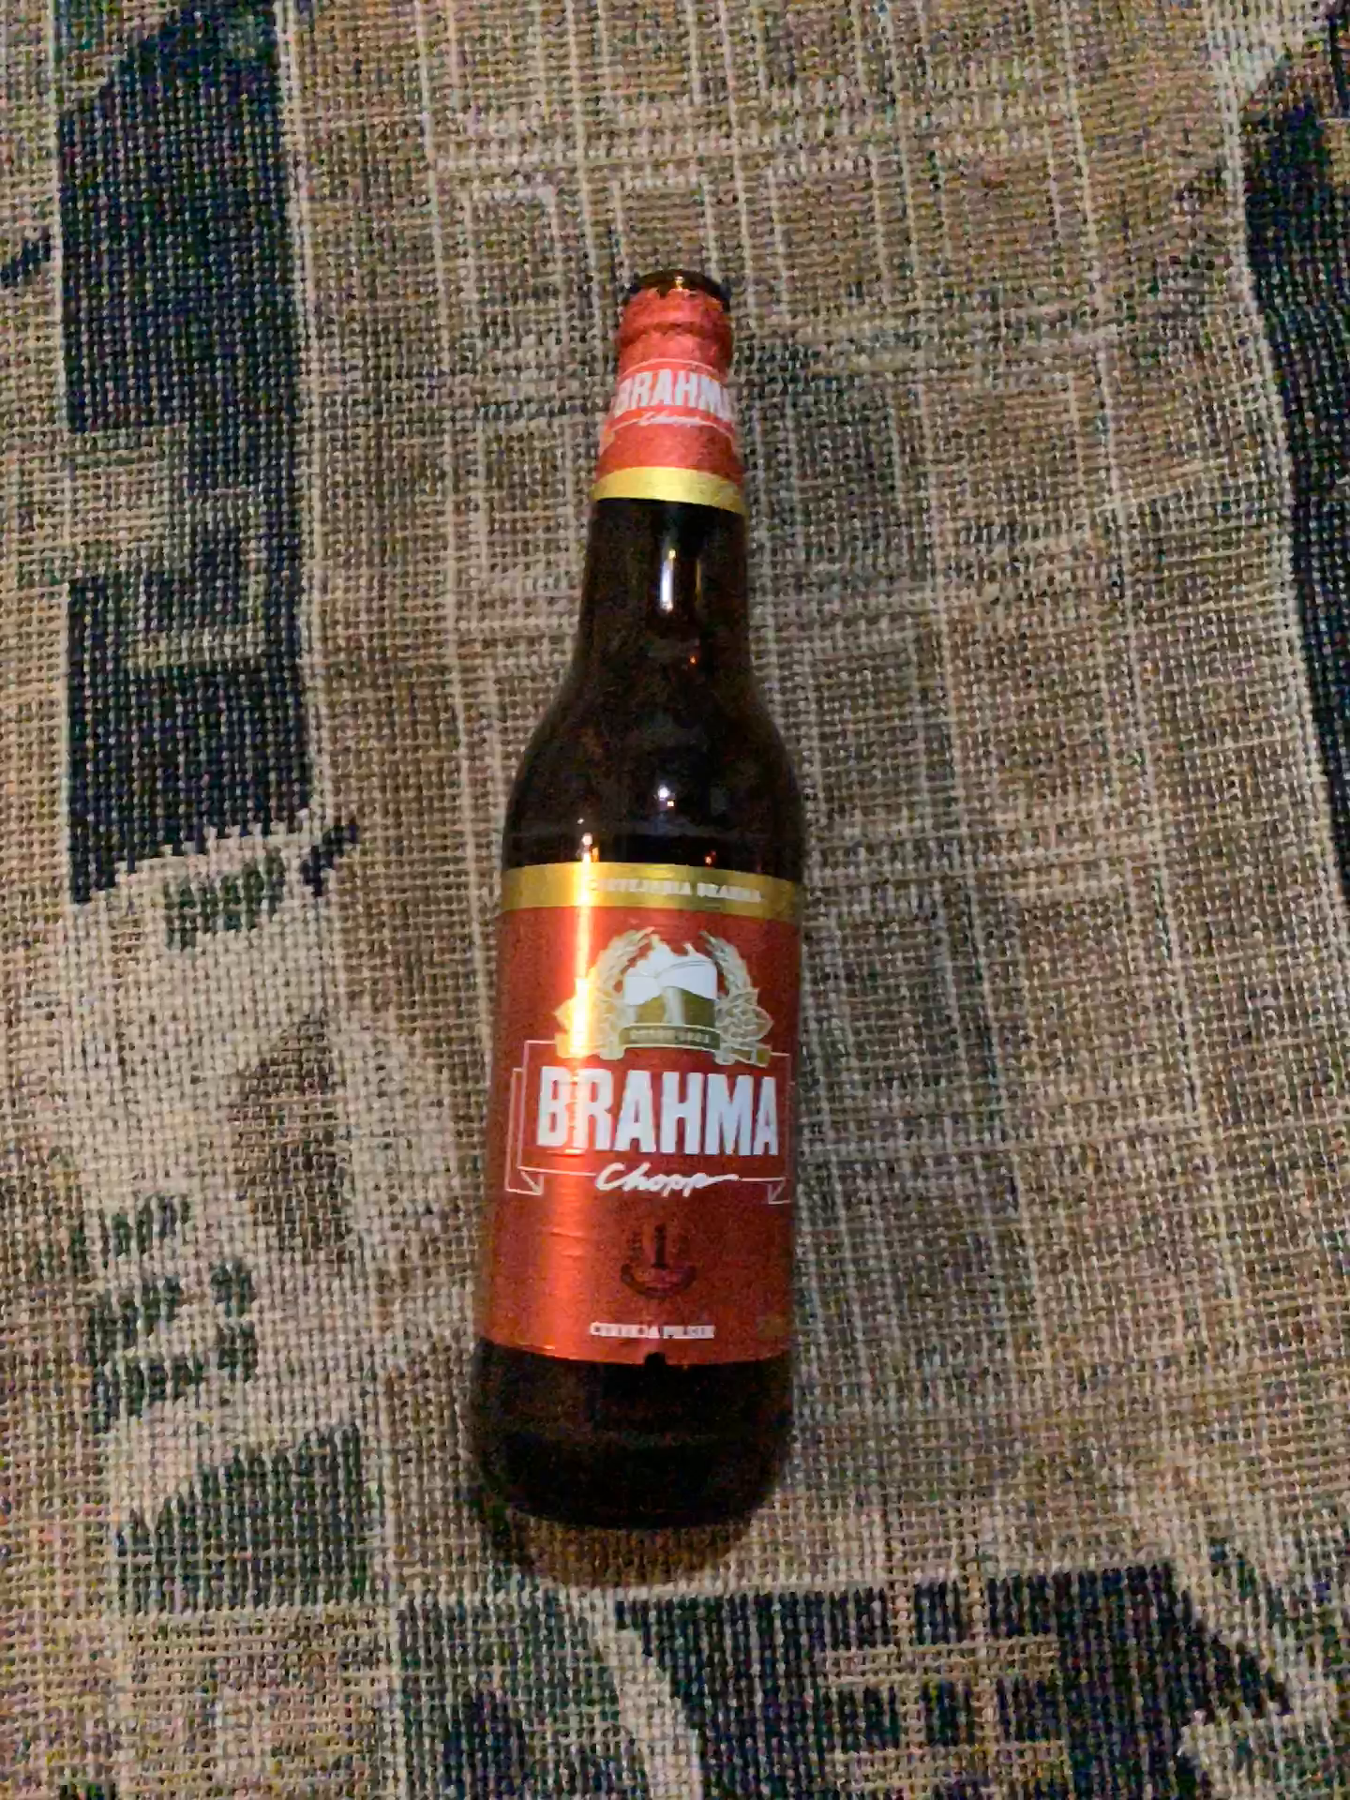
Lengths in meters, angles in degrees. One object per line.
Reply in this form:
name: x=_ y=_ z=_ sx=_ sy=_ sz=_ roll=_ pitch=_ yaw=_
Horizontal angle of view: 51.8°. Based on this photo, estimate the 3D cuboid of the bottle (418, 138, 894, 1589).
bottle: x=-0.001 y=-0.012 z=0.298 sx=0.080 sy=0.060 sz=0.280 roll=3 pitch=82 yaw=-2
